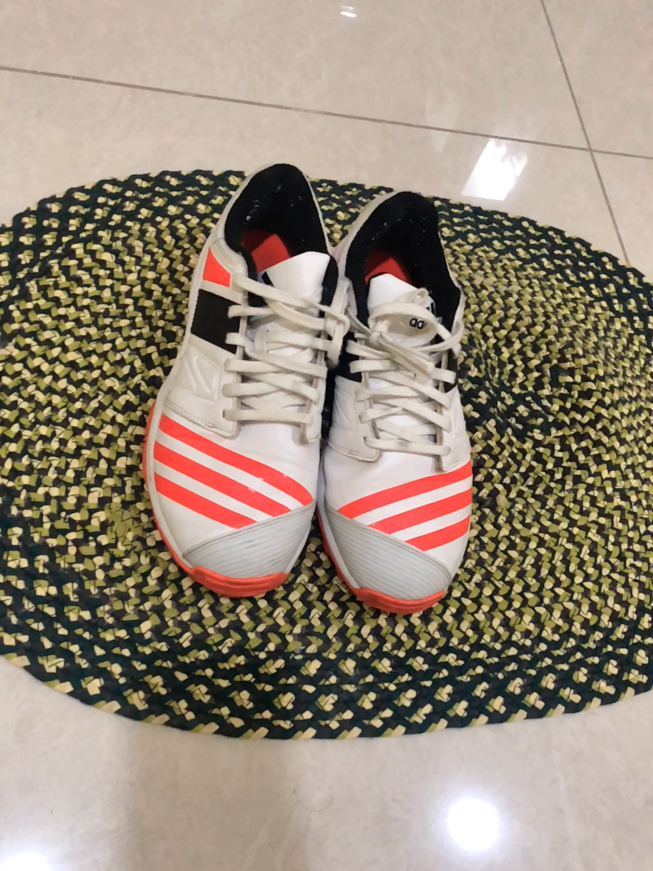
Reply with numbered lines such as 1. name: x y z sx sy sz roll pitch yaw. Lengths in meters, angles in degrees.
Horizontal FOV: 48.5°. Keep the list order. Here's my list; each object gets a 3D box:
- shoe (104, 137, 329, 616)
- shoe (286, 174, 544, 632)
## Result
1. shoe: -0.060 -0.039 0.439 0.100 0.090 0.270 7 63 -12
2. shoe: 0.044 -0.020 0.443 0.110 0.100 0.250 7 63 -12
